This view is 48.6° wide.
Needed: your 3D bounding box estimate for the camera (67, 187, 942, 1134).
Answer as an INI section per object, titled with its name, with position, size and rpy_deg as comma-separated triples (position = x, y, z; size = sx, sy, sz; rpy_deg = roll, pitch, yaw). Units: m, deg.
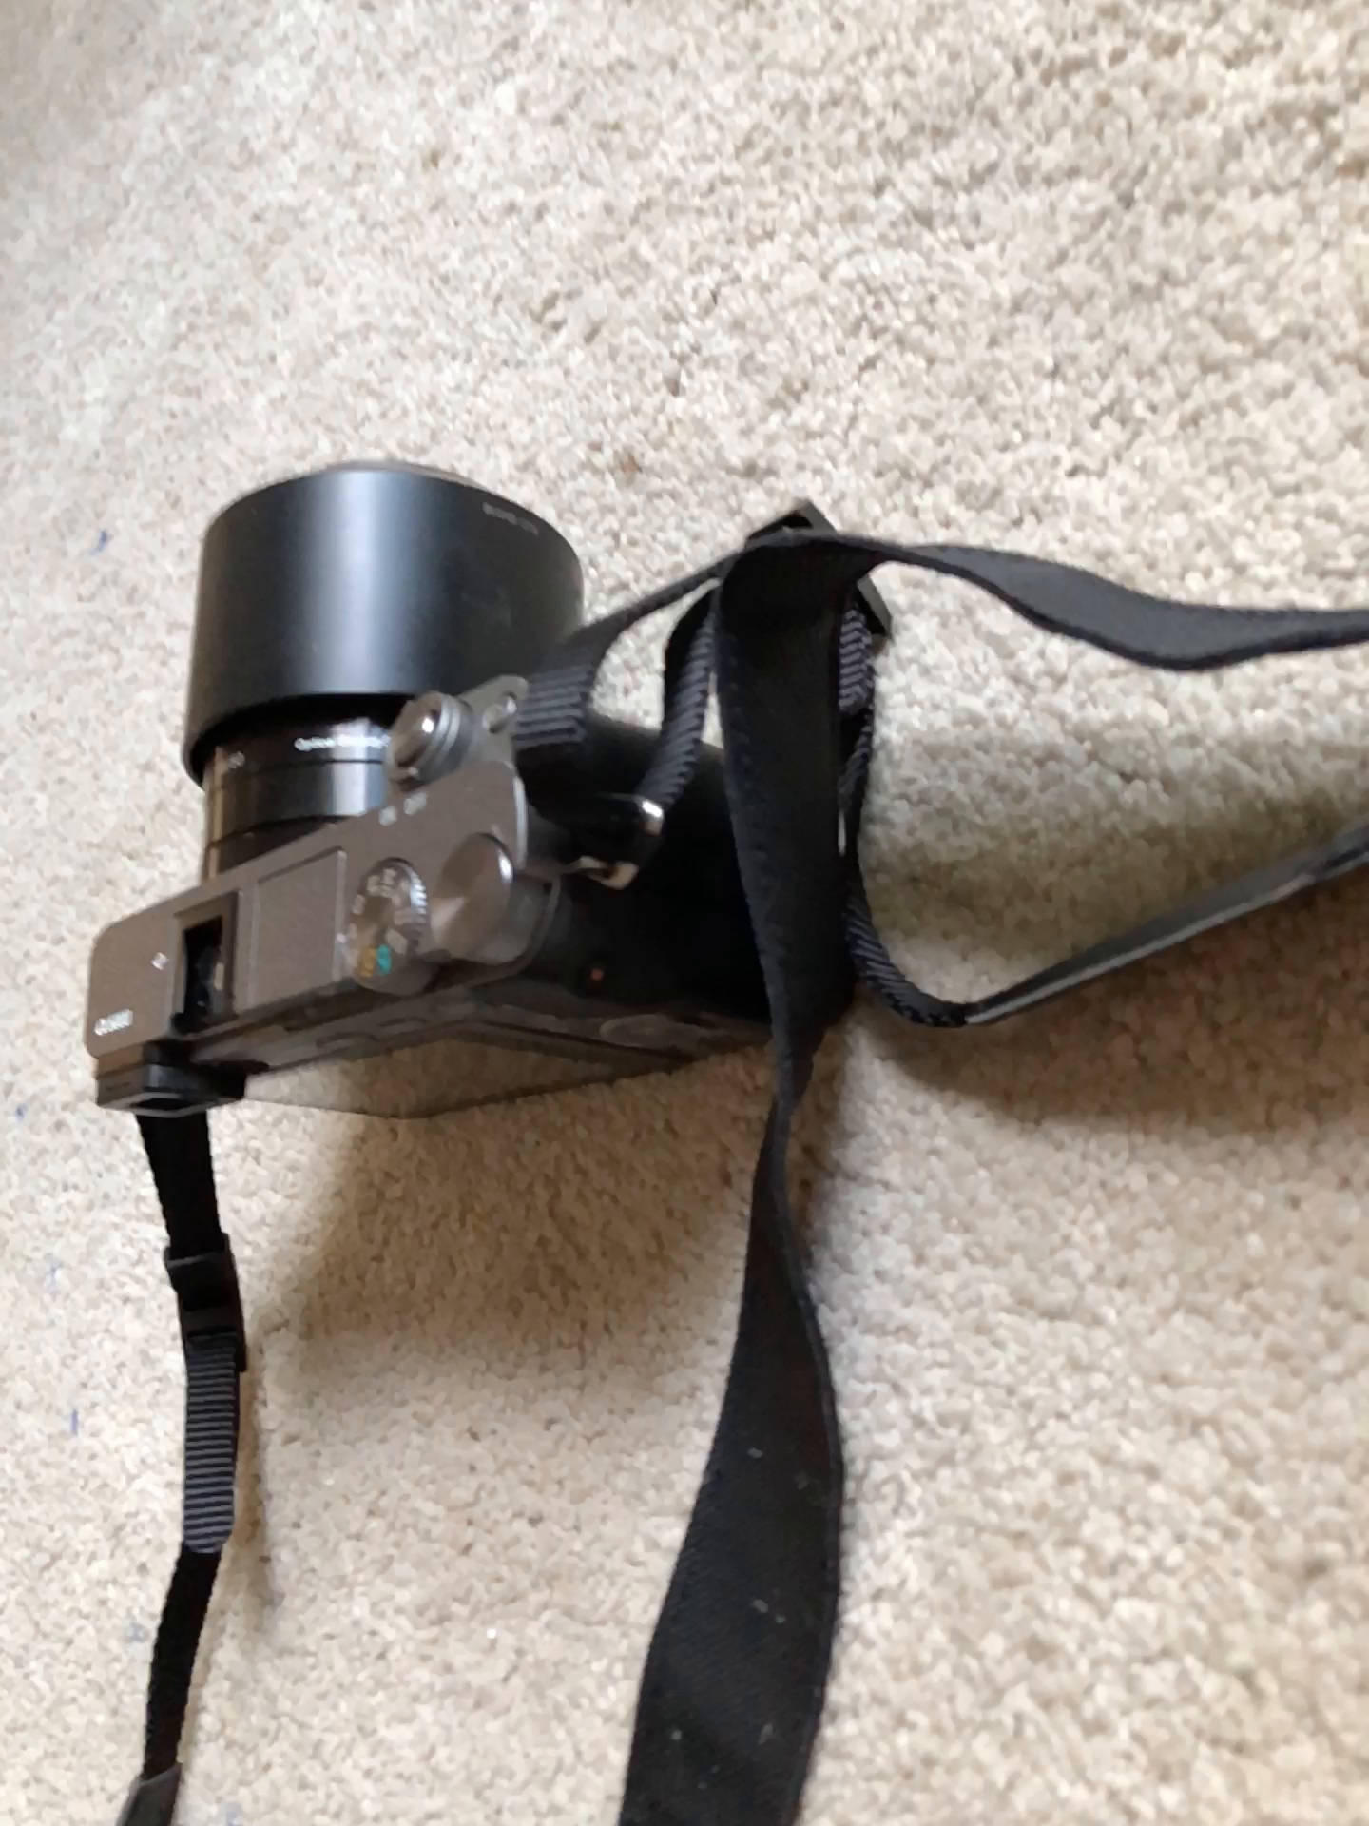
[camera]
position = -0.032, -0.025, 0.241
size = 0.120, 0.070, 0.100
rpy_deg = -16, 68, 42
